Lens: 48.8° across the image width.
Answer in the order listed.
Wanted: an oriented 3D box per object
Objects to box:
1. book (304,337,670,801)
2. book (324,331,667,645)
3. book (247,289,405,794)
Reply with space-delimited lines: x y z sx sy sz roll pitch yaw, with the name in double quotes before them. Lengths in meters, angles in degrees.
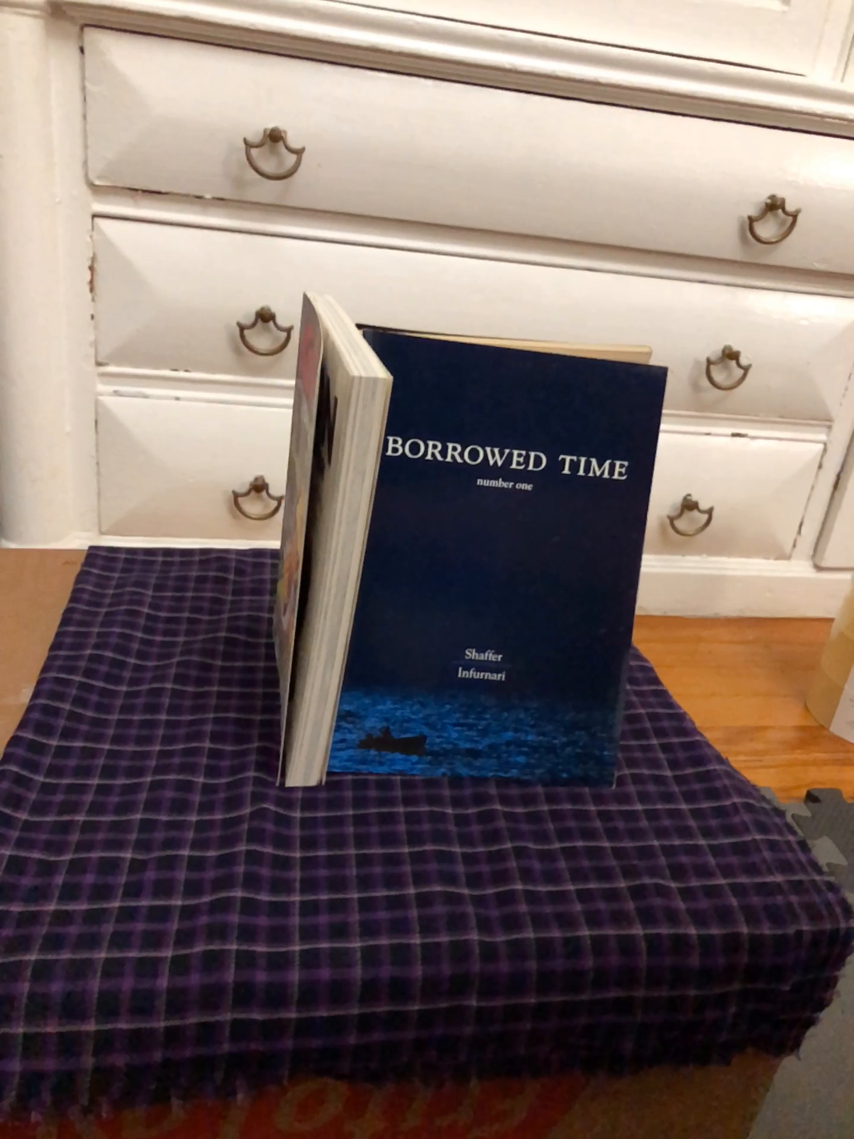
"book" 0.027 0.005 0.425 0.150 0.200 0.010 4 5 -11
"book" 0.025 -0.030 0.489 0.140 0.199 0.010 0 45 -13
"book" -0.055 -0.018 0.435 0.020 0.189 0.141 7 25 -17
